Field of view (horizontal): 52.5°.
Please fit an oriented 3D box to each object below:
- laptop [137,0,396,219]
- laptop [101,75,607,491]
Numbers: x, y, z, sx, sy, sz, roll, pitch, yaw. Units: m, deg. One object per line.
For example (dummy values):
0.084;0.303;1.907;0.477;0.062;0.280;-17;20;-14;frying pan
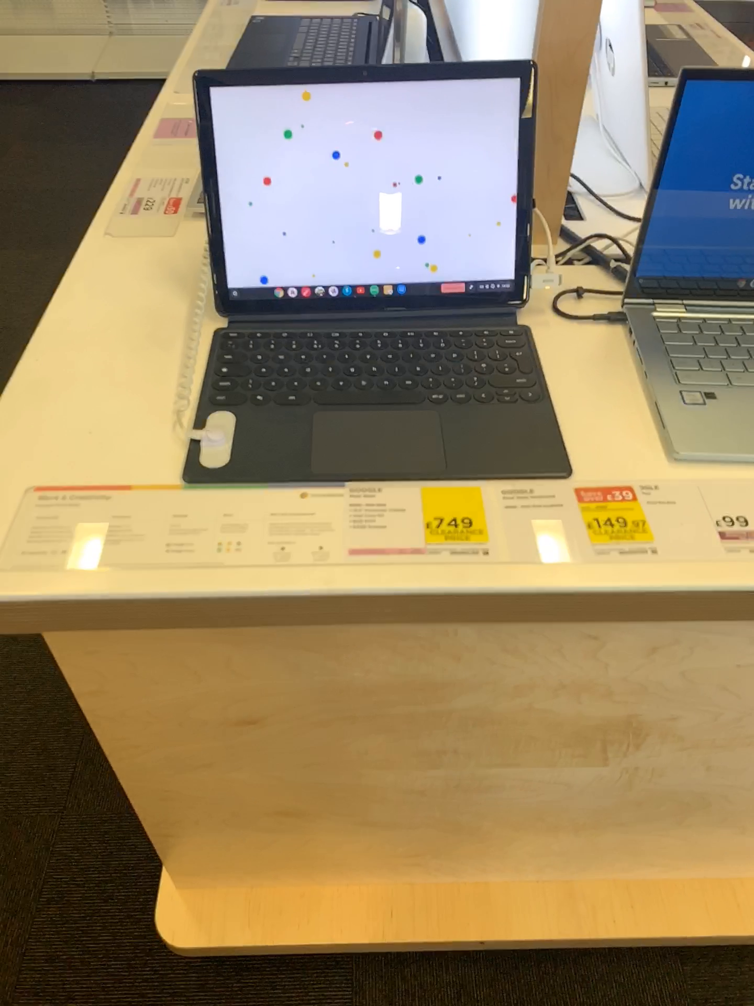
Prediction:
-0.098;-0.512;0.878;0.232;0.222;0.322;0;46;-1;laptop
-0.017;-0.184;0.599;0.285;0.187;0.295;-1;46;-2;laptop
